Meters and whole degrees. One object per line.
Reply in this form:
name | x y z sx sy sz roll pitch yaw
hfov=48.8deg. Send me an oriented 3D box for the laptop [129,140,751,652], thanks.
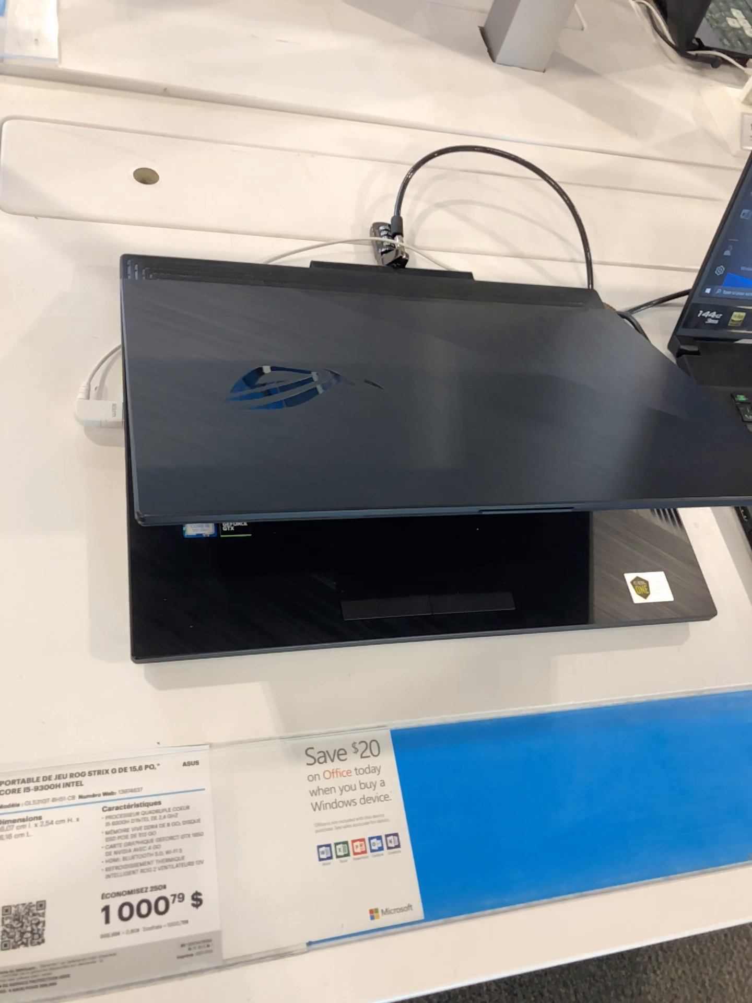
laptop | 0.029 -0.067 0.486 0.331 0.097 0.263 -1 61 -16
